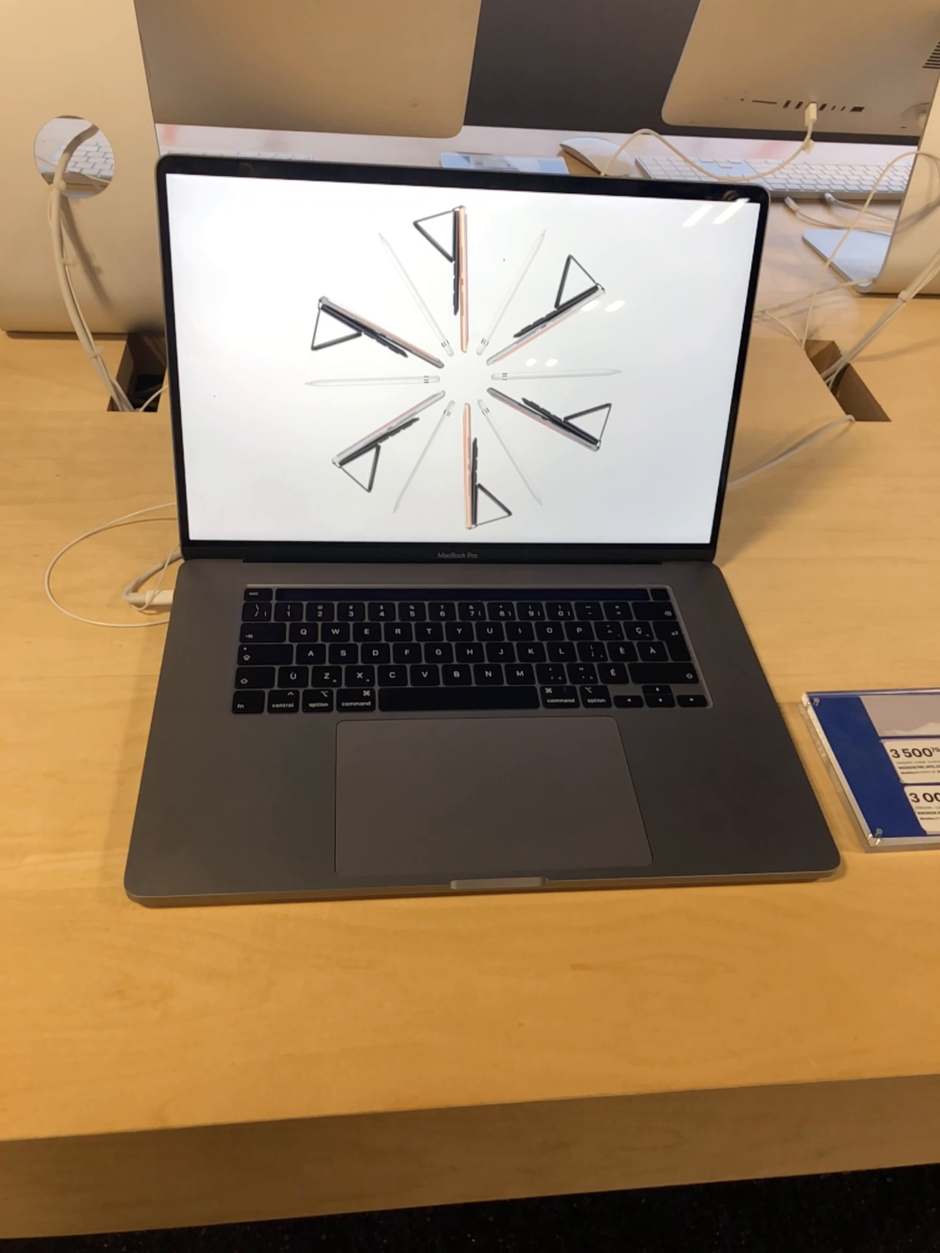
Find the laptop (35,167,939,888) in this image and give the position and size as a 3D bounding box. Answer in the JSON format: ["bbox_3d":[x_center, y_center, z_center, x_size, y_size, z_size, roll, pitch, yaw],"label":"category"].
[{"bbox_3d":[0.007,-0.064,0.556,0.352,0.230,0.316,0,43,-7],"label":"laptop"}]
